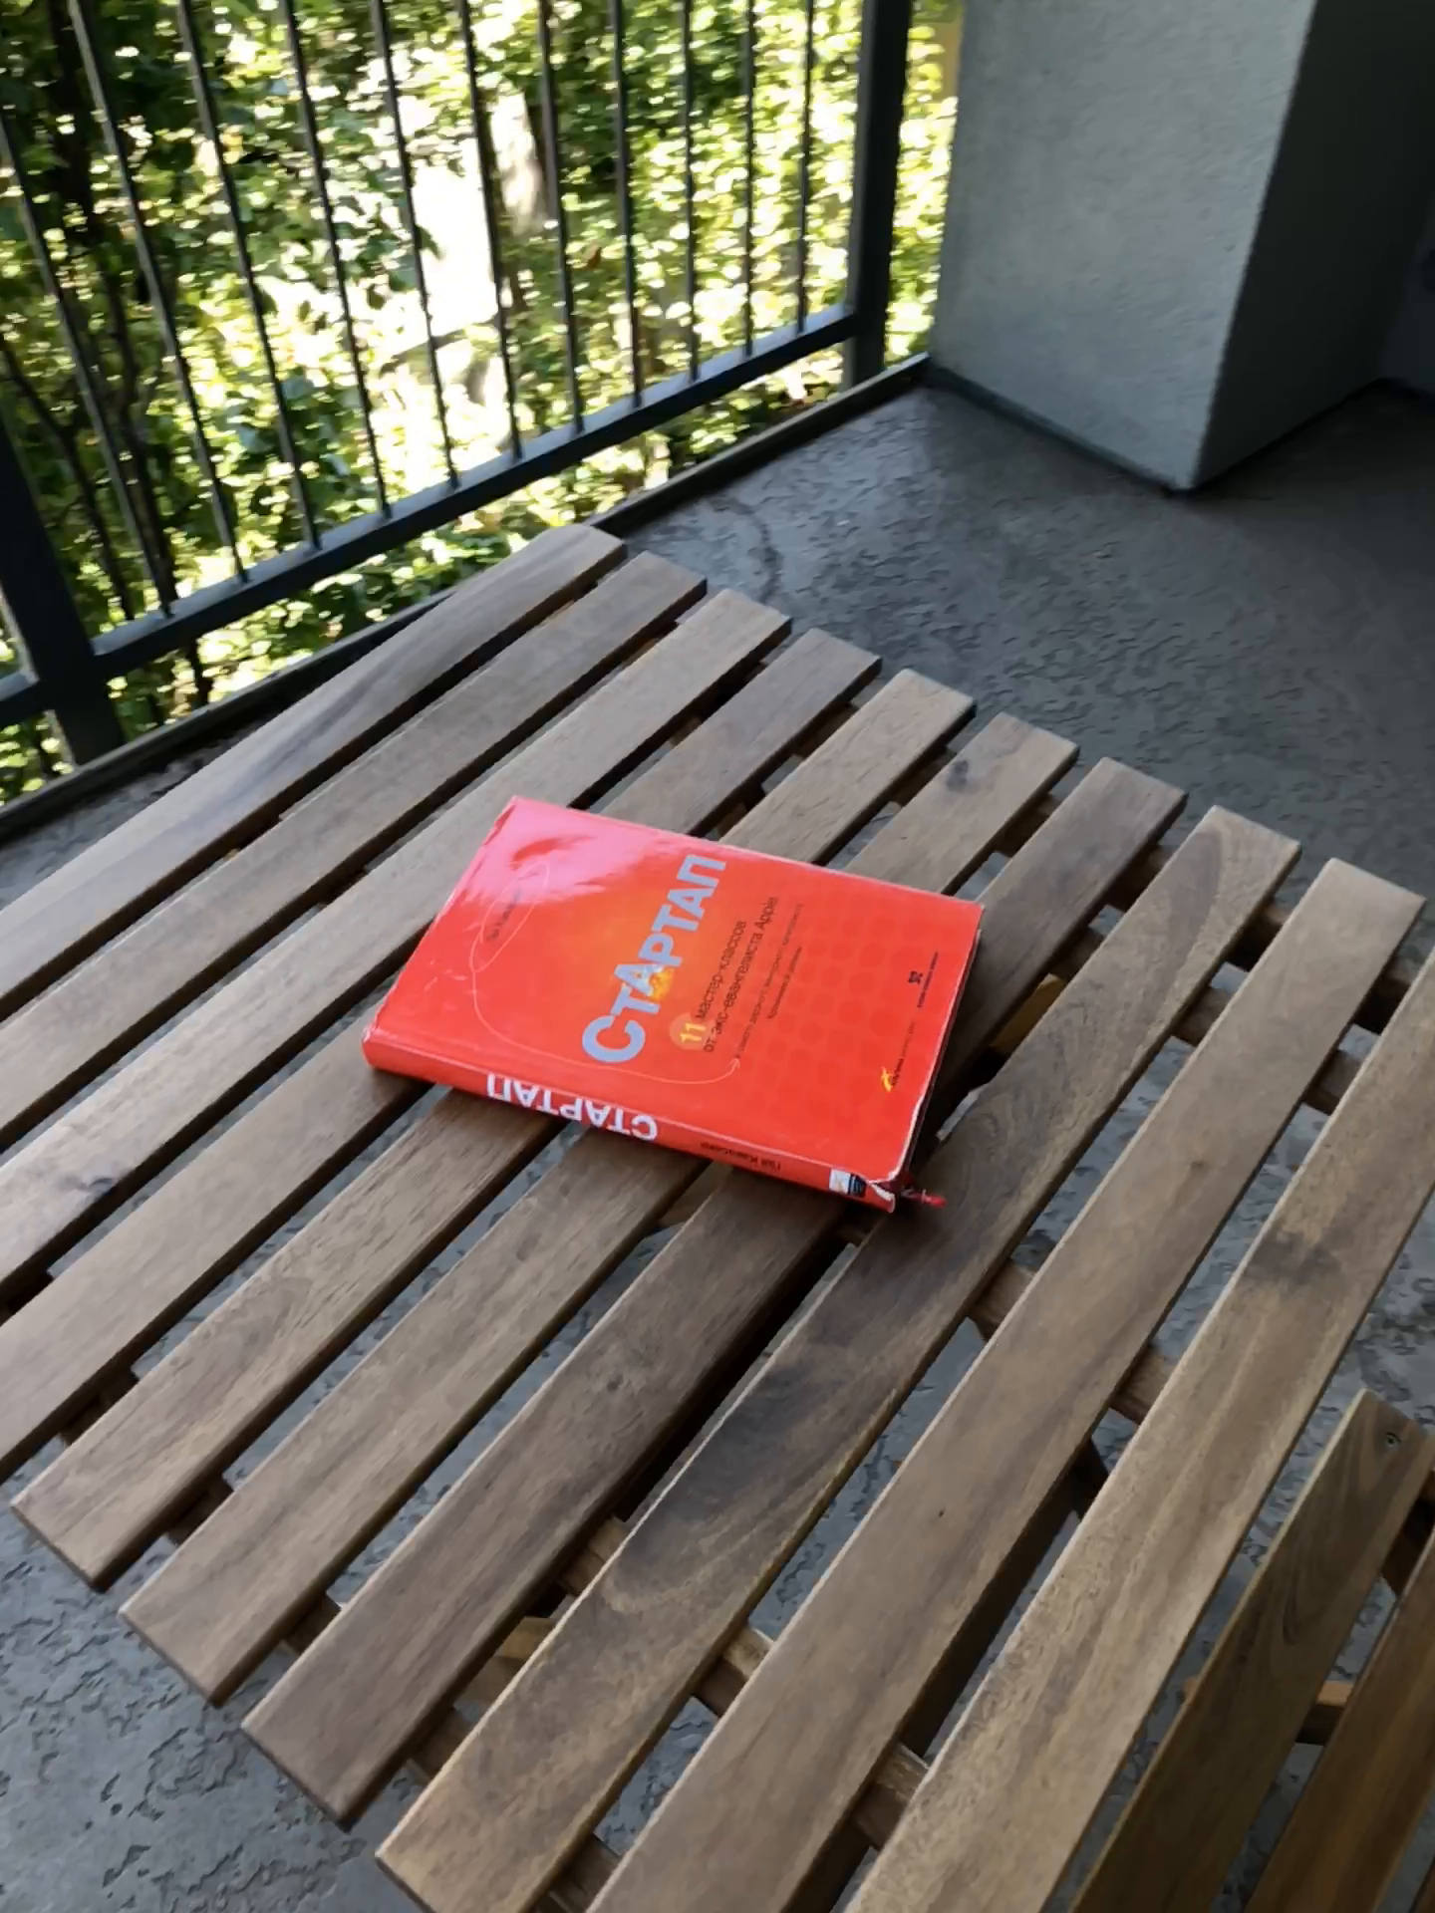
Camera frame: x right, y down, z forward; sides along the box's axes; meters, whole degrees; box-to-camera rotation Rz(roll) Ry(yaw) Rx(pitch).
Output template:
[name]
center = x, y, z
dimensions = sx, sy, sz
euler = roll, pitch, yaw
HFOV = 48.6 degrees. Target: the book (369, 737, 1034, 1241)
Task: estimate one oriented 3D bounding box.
[book]
center = 0.000, 0.004, 0.701
dimensions = 0.240, 0.050, 0.181
euler = 14, 51, 12
